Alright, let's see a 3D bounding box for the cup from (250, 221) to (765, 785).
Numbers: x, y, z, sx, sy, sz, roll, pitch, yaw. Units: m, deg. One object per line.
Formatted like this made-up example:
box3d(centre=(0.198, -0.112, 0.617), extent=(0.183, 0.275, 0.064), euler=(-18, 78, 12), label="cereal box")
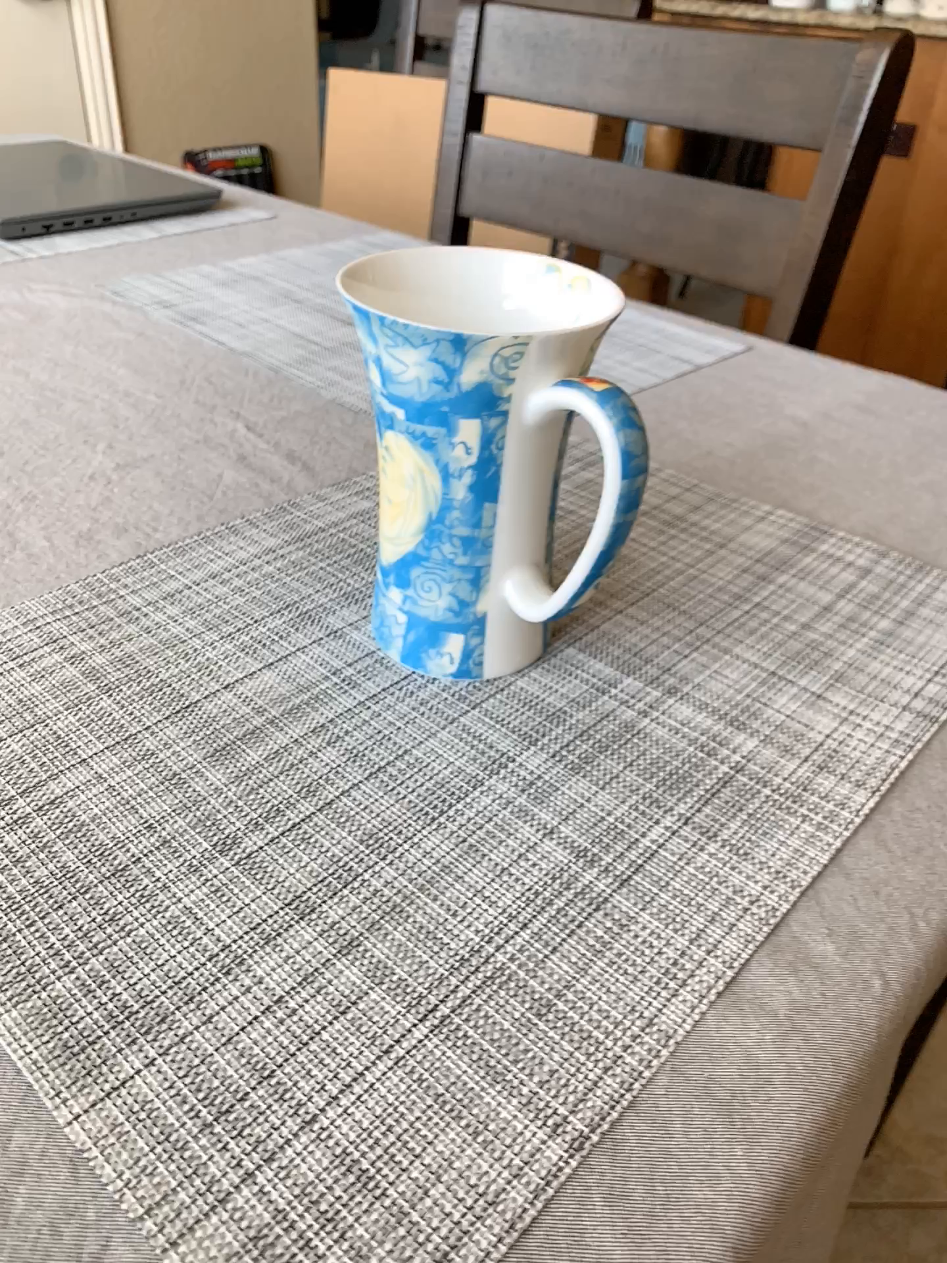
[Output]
box3d(centre=(0.003, -0.059, 0.378), extent=(0.100, 0.148, 0.153), euler=(-25, 43, -35), label="cup")
